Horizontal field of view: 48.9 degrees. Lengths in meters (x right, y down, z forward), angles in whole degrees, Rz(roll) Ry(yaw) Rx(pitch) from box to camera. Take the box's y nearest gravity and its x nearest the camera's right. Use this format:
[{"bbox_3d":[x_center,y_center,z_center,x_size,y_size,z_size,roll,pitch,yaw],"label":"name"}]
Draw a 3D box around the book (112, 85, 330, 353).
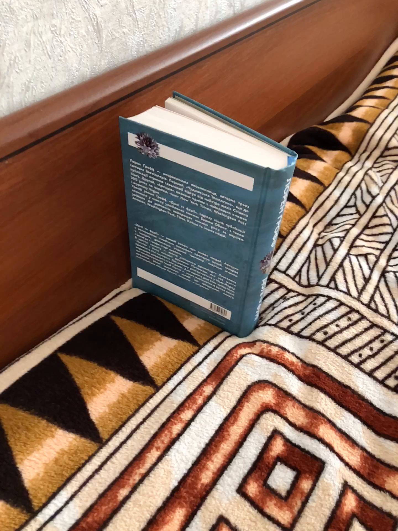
[{"bbox_3d":[0.013,-0.041,0.421,0.160,0.199,0.078,28,49,25],"label":"book"}]
